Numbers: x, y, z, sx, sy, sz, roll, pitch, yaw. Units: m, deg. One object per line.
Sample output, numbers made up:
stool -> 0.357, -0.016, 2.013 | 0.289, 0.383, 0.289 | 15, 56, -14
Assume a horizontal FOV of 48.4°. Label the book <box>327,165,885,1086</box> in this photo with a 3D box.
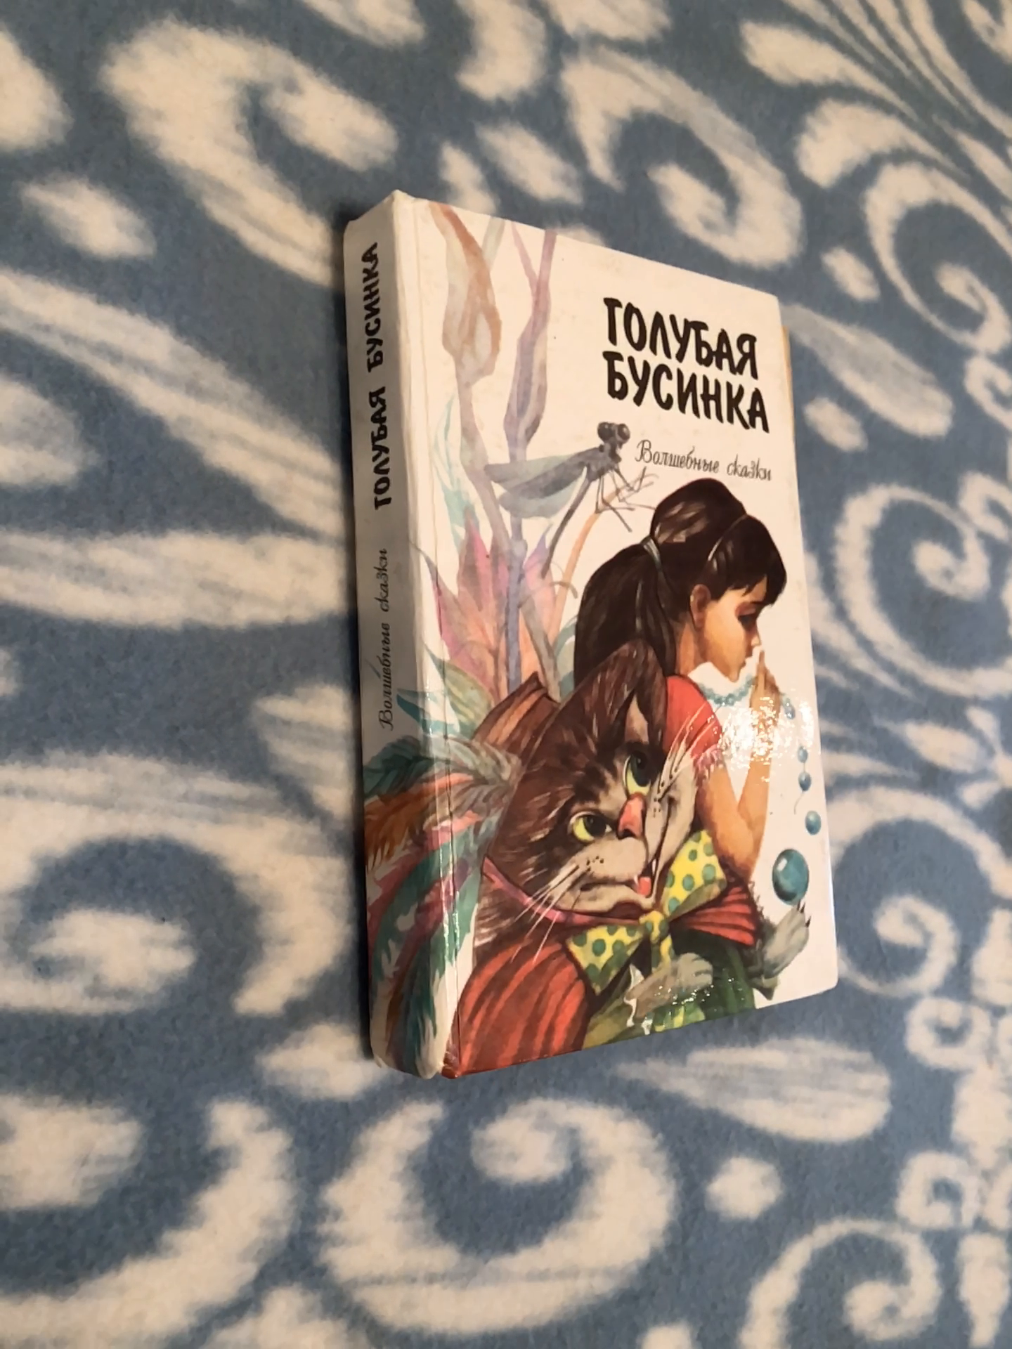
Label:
book -> 0.031, -0.013, 0.306 | 0.146, 0.040, 0.206 | 0, 84, -35
